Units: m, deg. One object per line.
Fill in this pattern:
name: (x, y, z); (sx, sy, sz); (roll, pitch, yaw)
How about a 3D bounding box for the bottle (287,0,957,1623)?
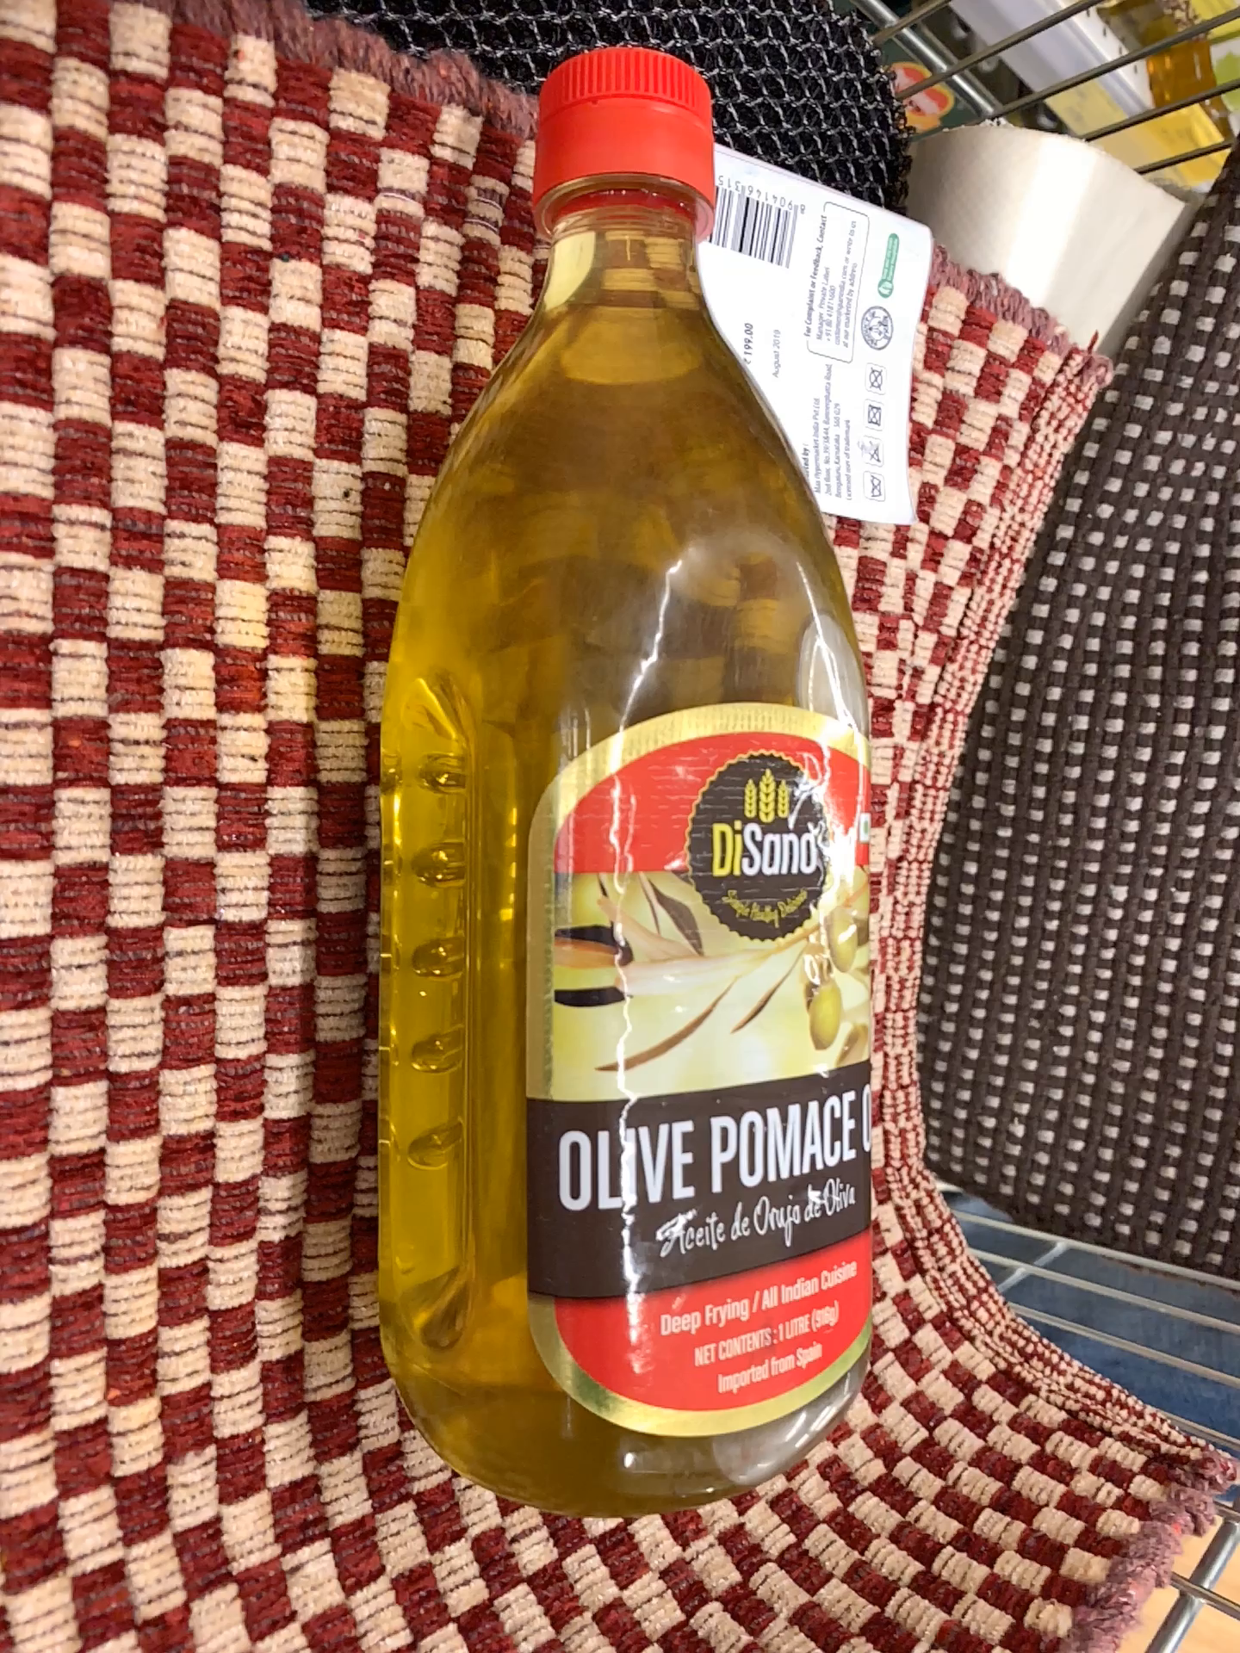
bottle: (0.000, -0.002, 0.221); (0.080, 0.080, 0.210); (1, 89, -44)
